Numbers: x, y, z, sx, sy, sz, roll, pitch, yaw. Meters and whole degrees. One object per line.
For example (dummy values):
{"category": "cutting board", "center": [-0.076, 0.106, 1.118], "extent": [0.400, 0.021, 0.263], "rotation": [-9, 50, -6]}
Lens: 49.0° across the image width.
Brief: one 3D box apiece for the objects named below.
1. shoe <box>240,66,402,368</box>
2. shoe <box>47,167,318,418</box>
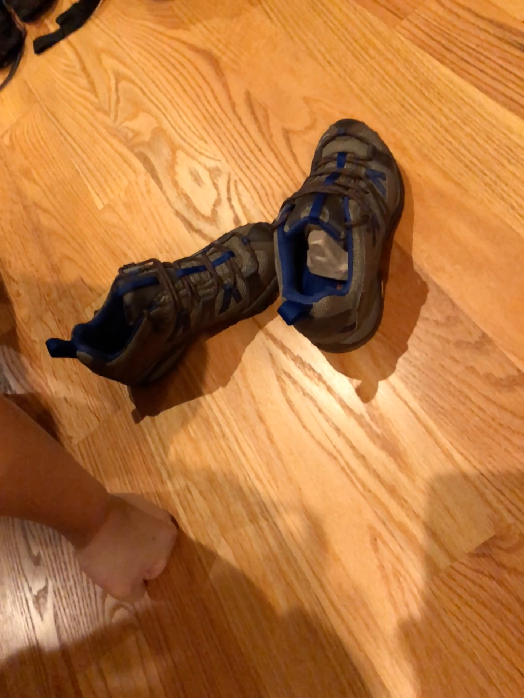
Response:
{"category": "shoe", "center": [0.063, -0.117, 0.532], "extent": [0.097, 0.094, 0.252], "rotation": [-1, 69, 26]}
{"category": "shoe", "center": [-0.080, -0.050, 0.587], "extent": [0.240, 0.106, 0.095], "rotation": [-37, 58, 8]}
